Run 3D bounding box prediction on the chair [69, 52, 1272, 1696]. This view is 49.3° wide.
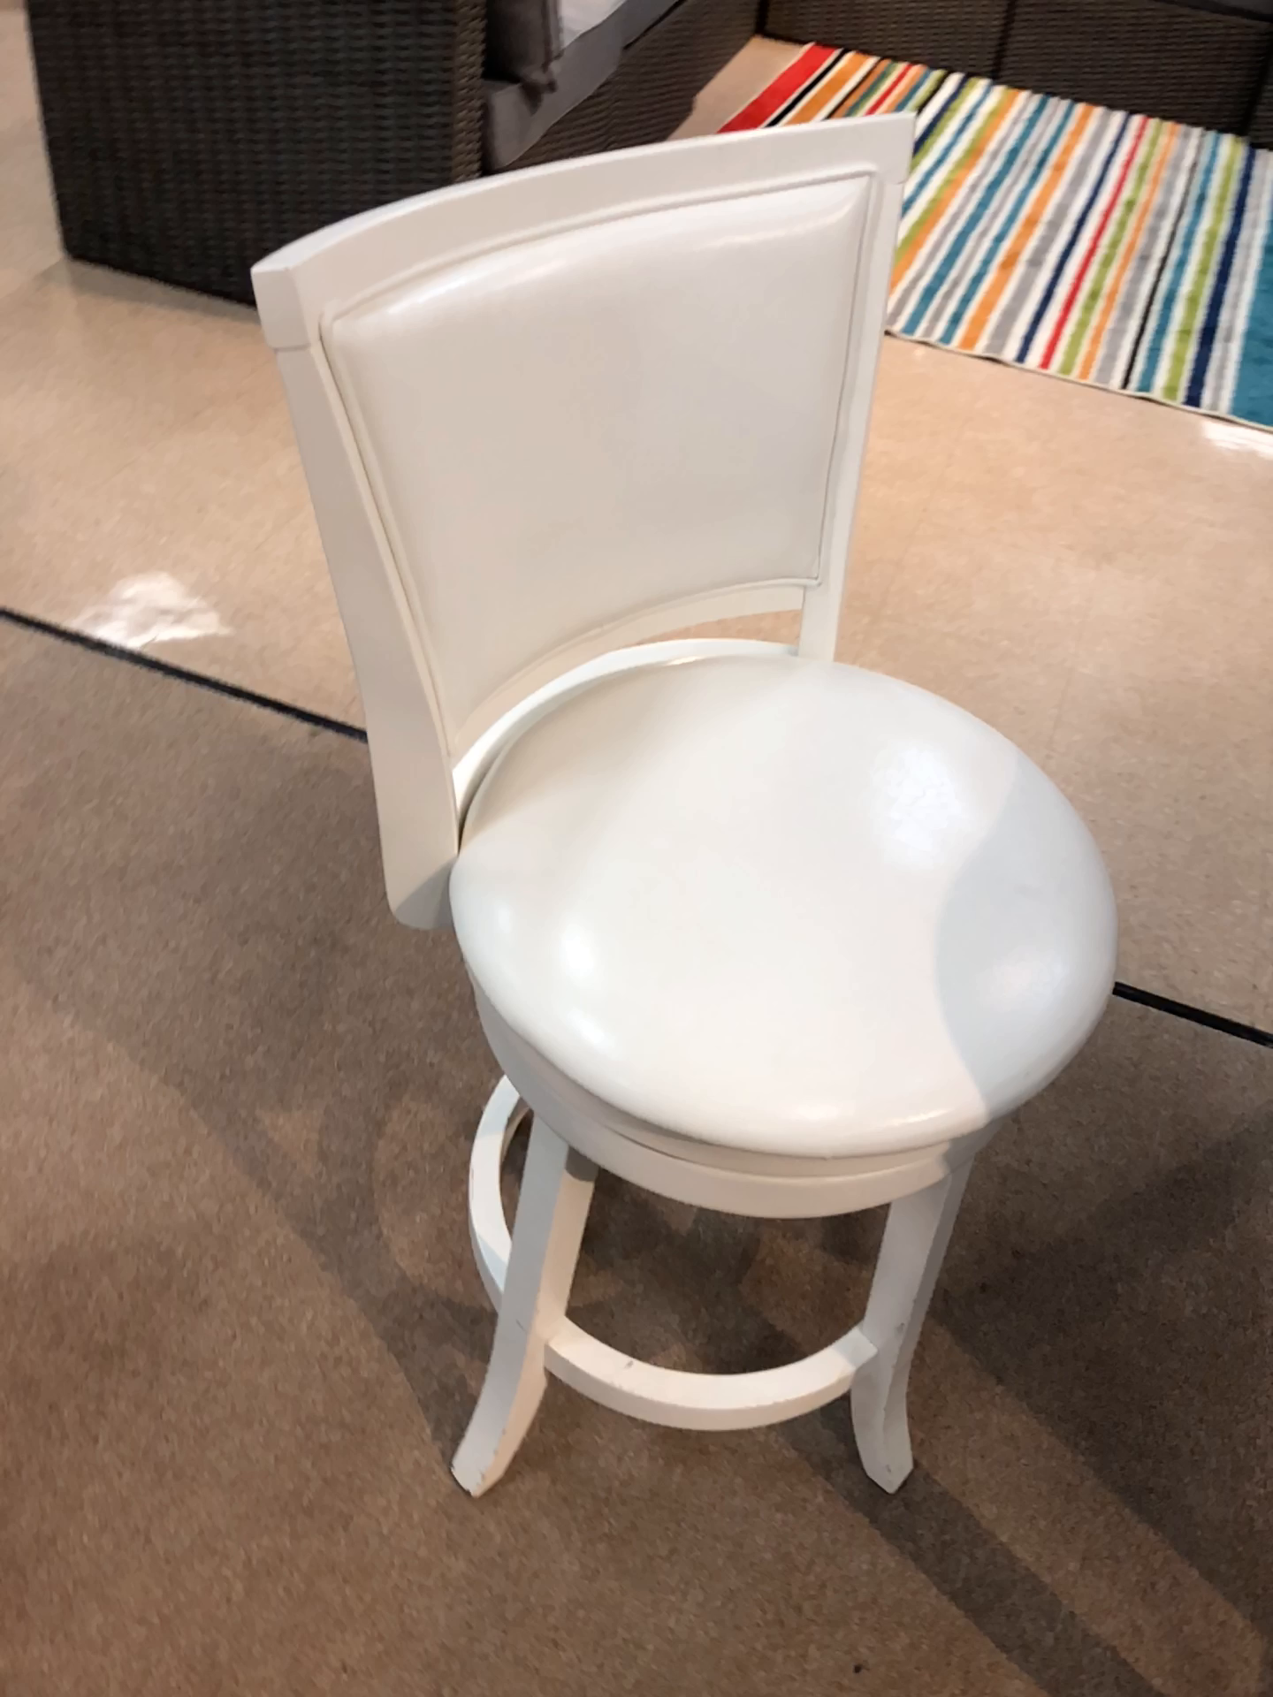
[{"bbox_3d":[0.096,0.063,1.006,0.621,0.944,0.573,-25,53,-28],"label":"chair"}]
